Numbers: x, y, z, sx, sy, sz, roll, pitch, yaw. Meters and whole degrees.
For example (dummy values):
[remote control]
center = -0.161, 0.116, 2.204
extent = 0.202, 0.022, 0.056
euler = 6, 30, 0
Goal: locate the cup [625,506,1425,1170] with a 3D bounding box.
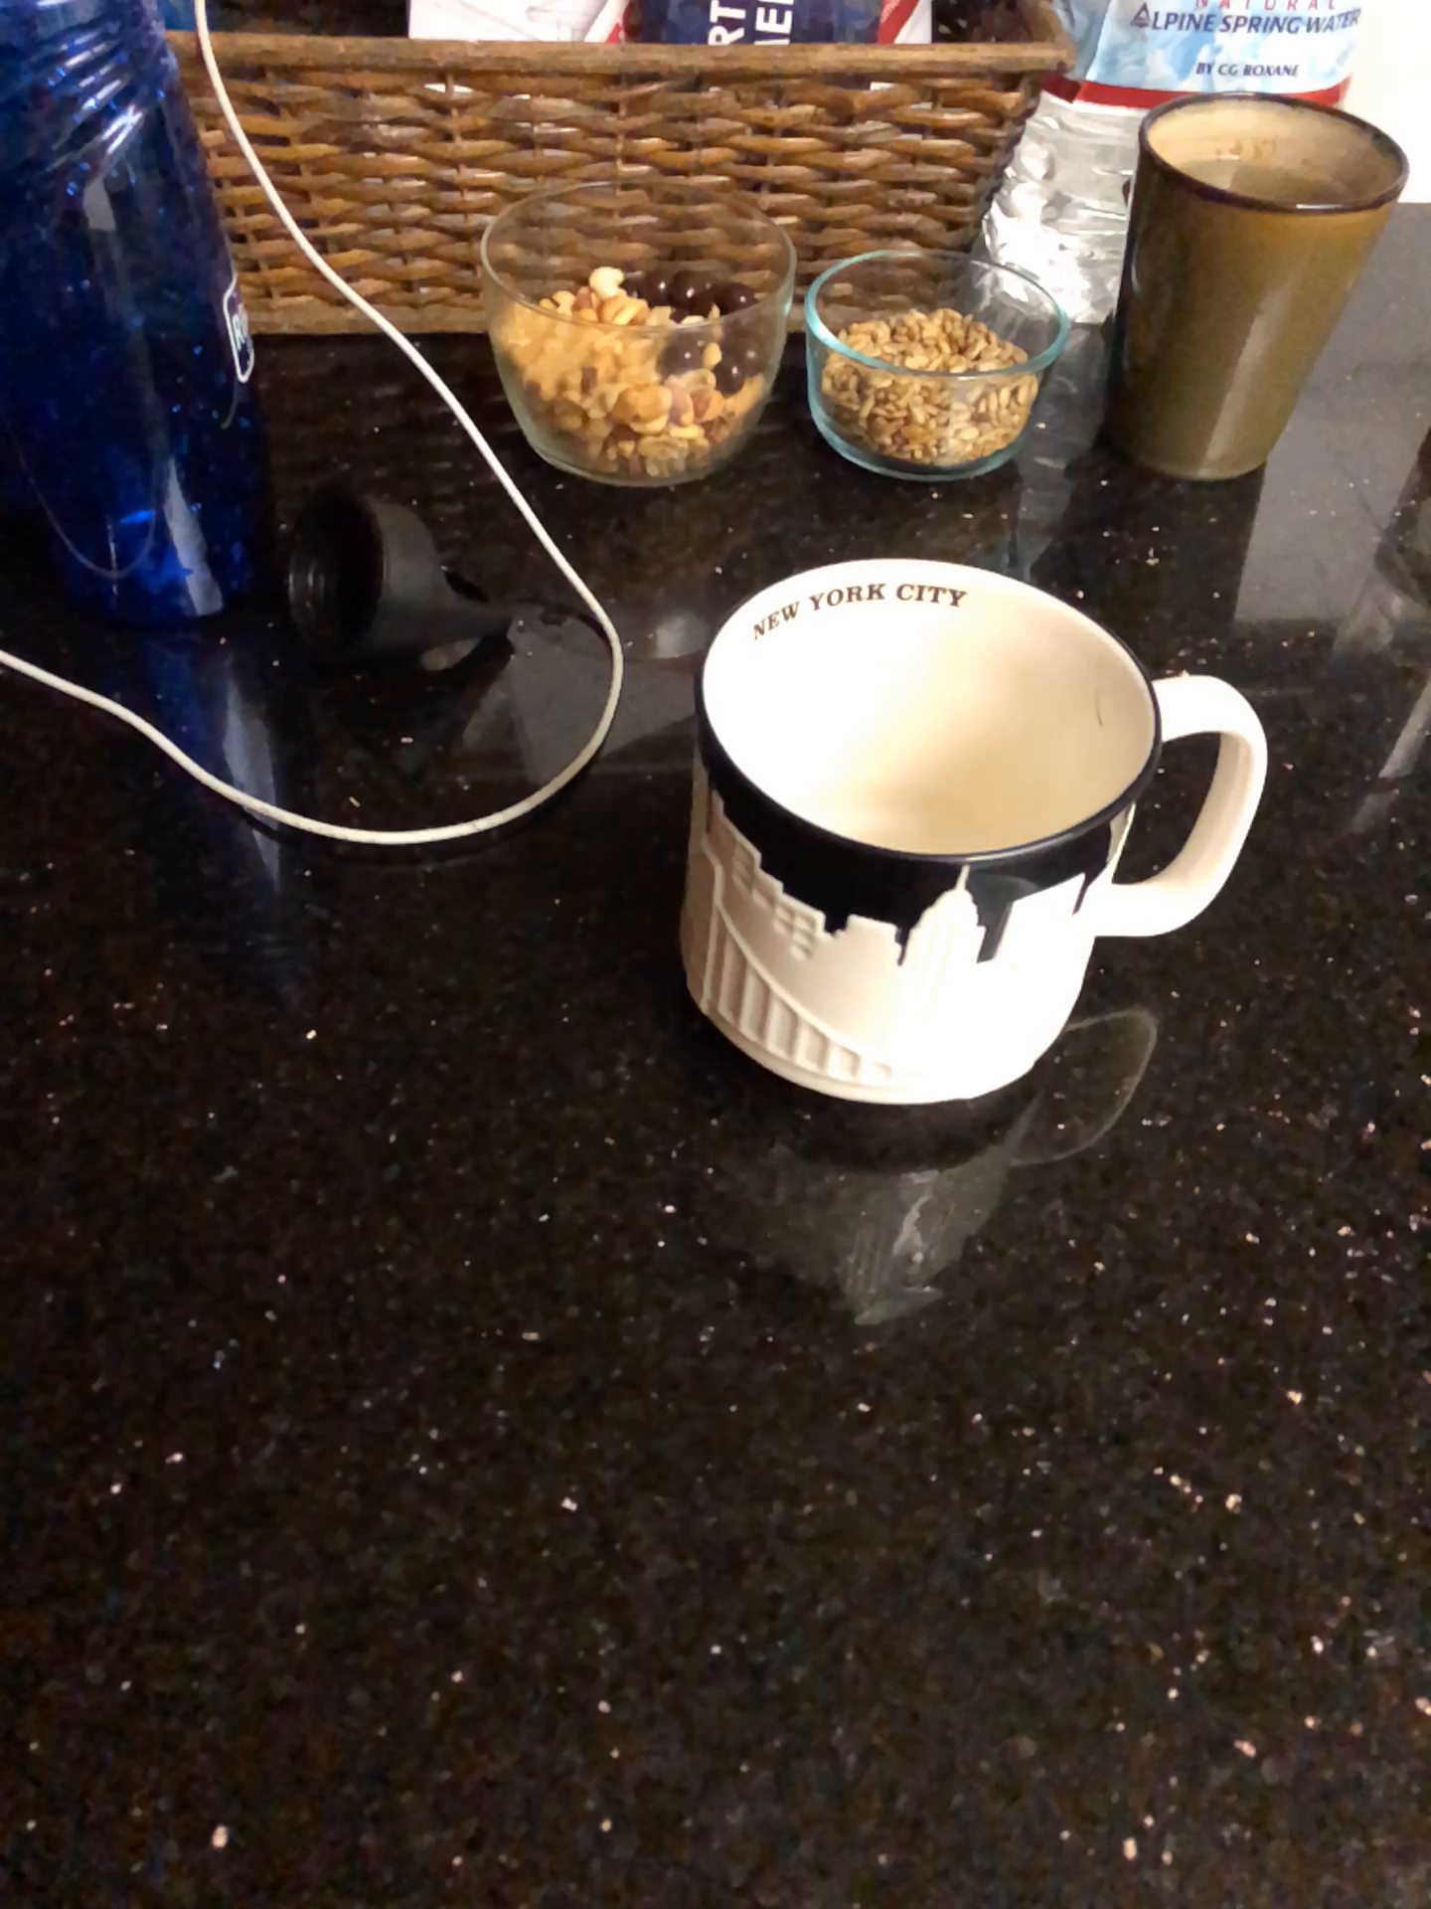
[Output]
[cup]
center = 0.065, -0.033, 0.393
extent = 0.150, 0.090, 0.110
euler = -12, 50, -14
